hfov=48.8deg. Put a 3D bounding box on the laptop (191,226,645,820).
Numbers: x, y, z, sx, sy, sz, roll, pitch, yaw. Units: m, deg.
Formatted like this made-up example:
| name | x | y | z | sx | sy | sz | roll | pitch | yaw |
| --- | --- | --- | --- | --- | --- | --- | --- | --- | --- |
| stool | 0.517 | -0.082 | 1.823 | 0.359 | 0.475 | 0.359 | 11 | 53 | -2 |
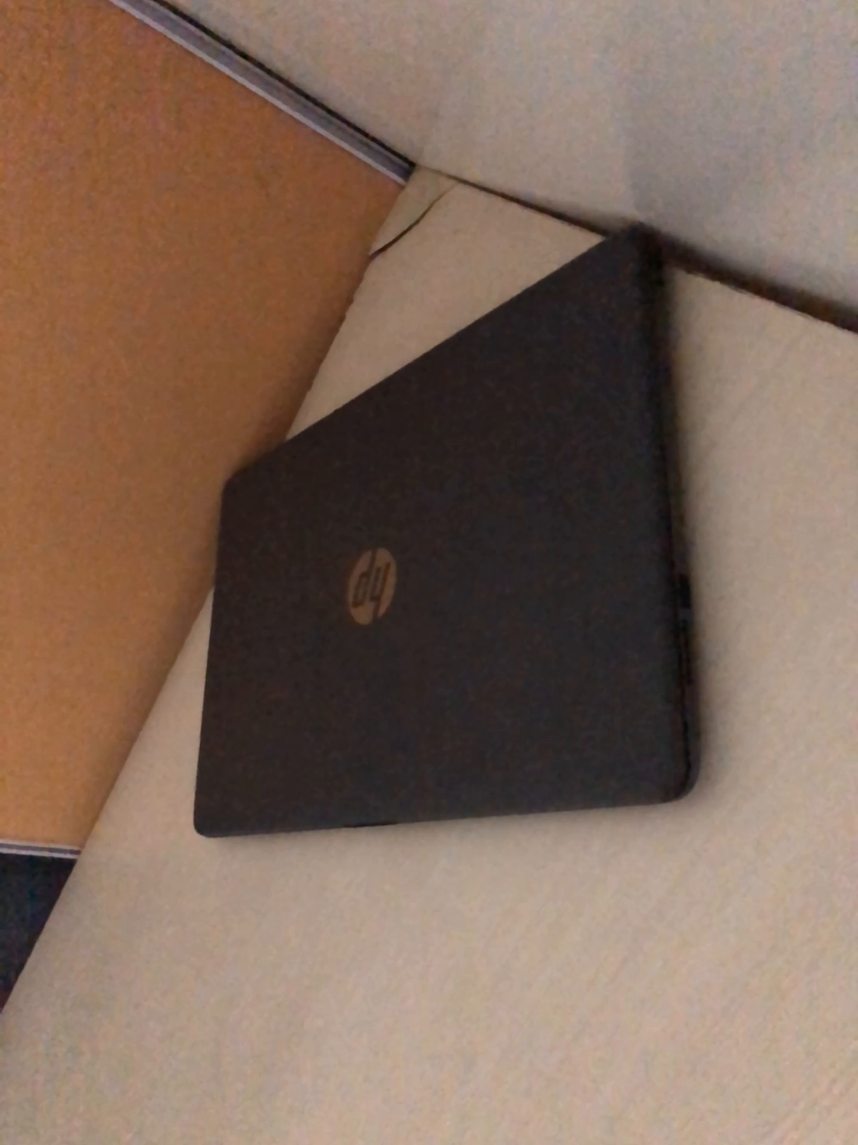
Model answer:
| name | x | y | z | sx | sy | sz | roll | pitch | yaw |
| --- | --- | --- | --- | --- | --- | --- | --- | --- | --- |
| laptop | -0.031 | 0.003 | 0.508 | 0.357 | 0.004 | 0.236 | -20 | 60 | 48 |
